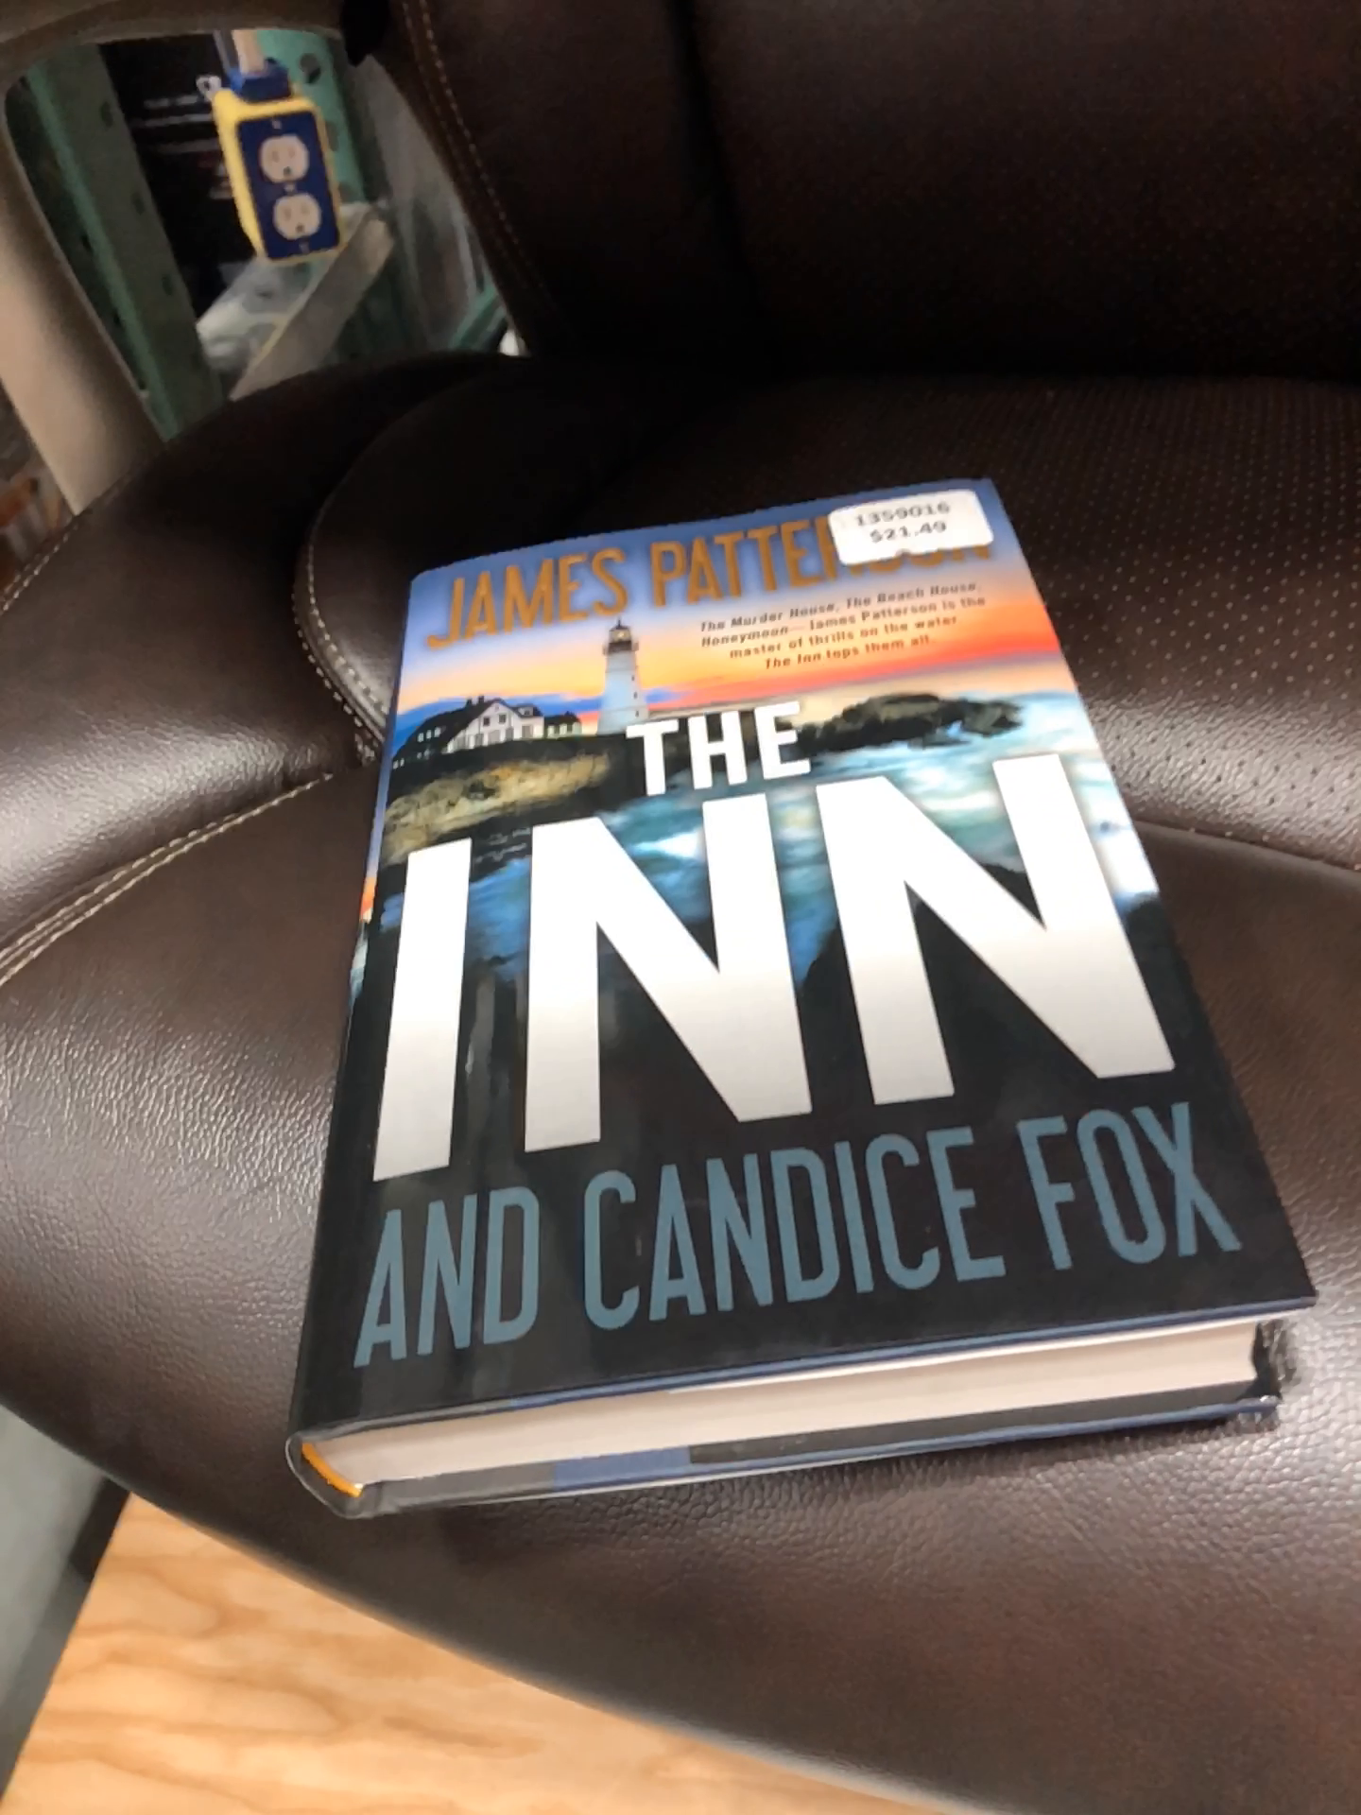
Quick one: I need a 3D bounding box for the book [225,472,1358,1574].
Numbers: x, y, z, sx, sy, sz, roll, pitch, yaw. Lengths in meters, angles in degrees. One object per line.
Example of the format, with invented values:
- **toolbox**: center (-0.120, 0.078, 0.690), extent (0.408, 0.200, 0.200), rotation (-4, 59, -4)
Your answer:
- **book**: center (0.011, 0.000, 0.330), extent (0.170, 0.040, 0.251), rotation (-9, 44, 5)
